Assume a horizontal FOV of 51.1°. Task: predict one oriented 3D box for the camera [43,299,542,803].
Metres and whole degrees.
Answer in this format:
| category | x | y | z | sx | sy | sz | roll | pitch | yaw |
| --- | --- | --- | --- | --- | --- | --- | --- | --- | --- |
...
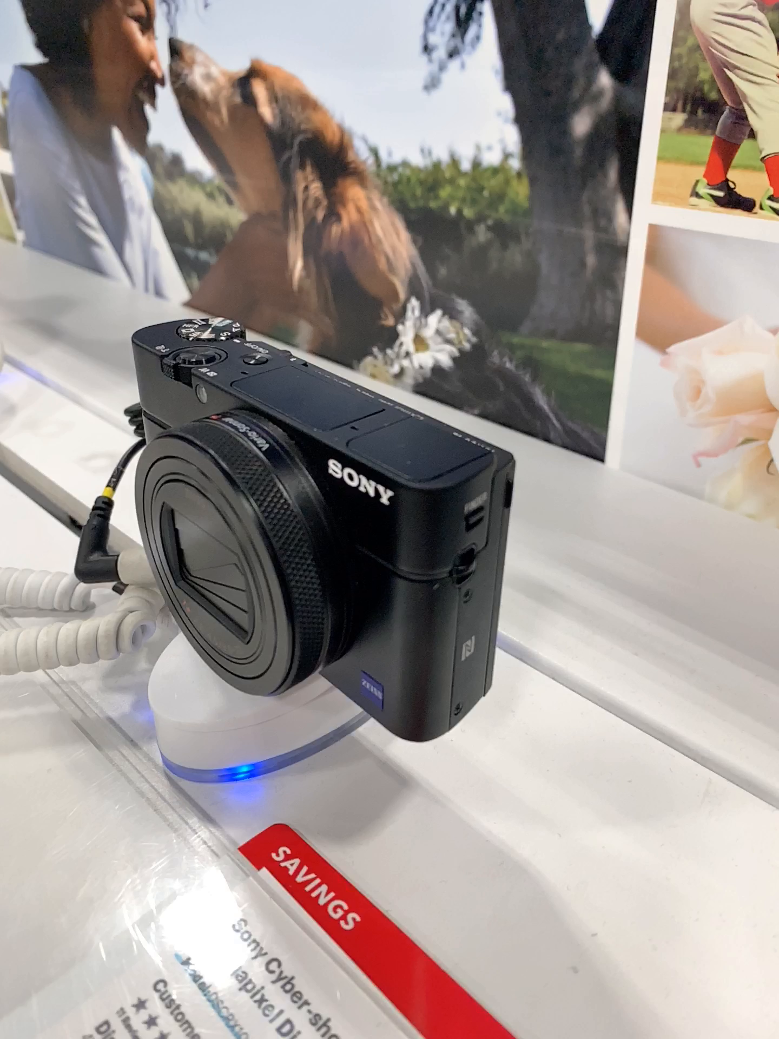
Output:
| category | x | y | z | sx | sy | sz | roll | pitch | yaw |
| --- | --- | --- | --- | --- | --- | --- | --- | --- | --- |
| camera | -0.026 | -0.003 | 0.176 | 0.043 | 0.060 | 0.105 | -24 | 39 | -38 |
